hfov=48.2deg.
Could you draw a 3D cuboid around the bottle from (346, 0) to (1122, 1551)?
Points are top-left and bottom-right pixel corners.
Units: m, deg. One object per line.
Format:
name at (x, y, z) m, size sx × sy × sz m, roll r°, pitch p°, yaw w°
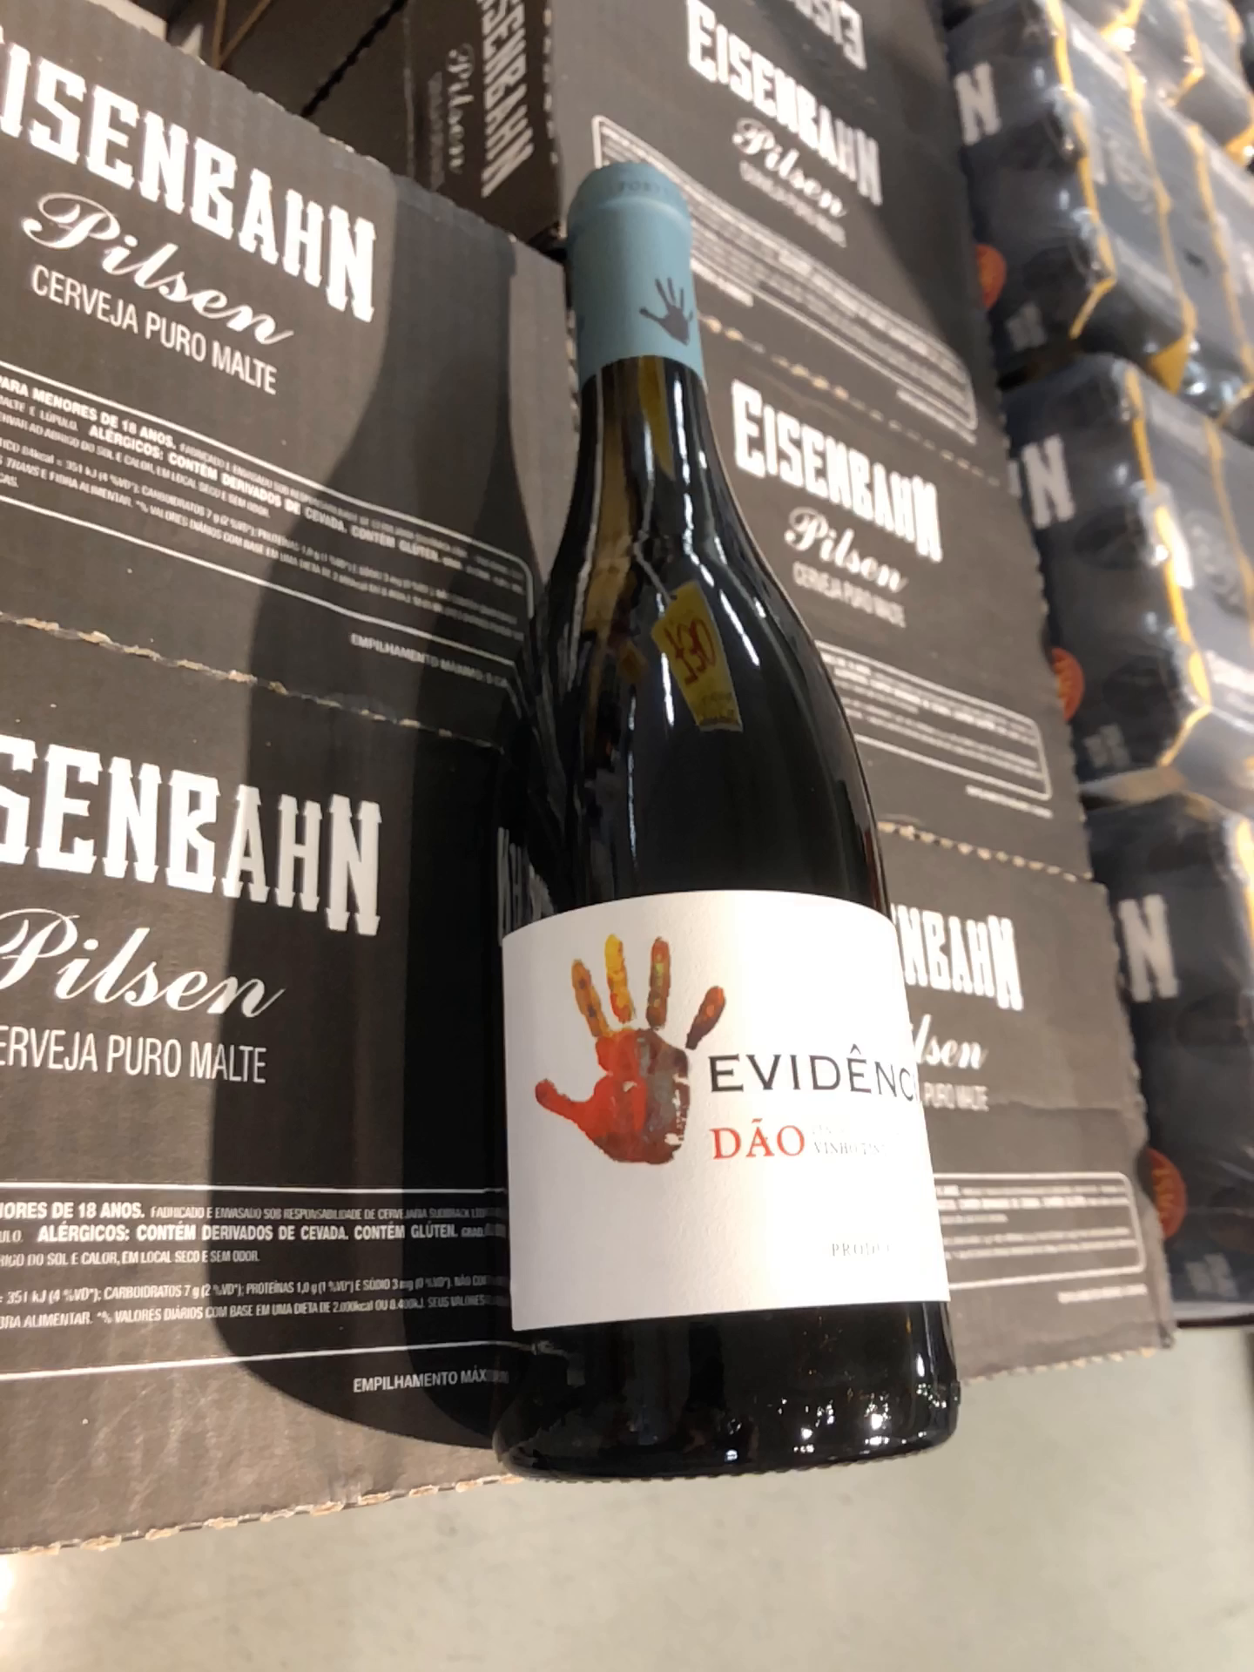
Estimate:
bottle at (0.013, -0.046, 0.293) m, size 0.101 × 0.089 × 0.330 m, roll 13°, pitch 67°, yaw -39°
